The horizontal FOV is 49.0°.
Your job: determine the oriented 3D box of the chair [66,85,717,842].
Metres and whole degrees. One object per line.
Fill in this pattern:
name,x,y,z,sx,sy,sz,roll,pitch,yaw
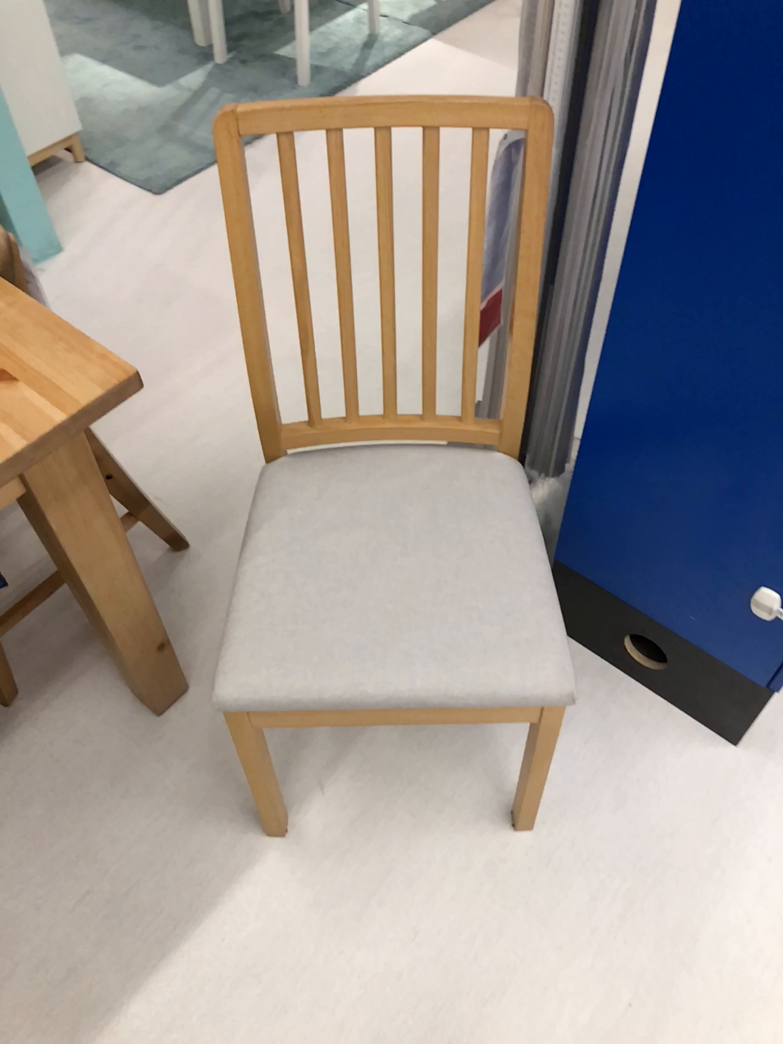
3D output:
chair,0.006,0.006,1.089,0.450,0.855,0.513,-1,52,1
